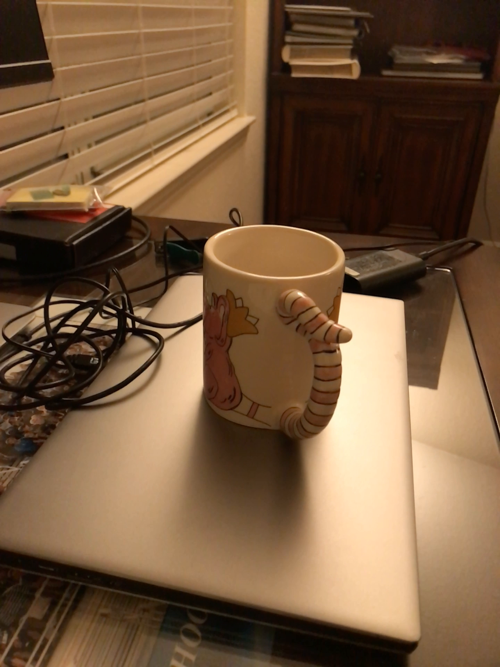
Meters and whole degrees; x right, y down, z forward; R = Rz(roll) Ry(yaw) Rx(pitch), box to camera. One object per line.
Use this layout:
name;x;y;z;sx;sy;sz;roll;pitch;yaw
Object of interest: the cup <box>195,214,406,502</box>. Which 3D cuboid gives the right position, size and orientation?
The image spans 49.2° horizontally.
cup;0.015;0.004;0.303;0.080;0.099;0.131;-3;30;-8
